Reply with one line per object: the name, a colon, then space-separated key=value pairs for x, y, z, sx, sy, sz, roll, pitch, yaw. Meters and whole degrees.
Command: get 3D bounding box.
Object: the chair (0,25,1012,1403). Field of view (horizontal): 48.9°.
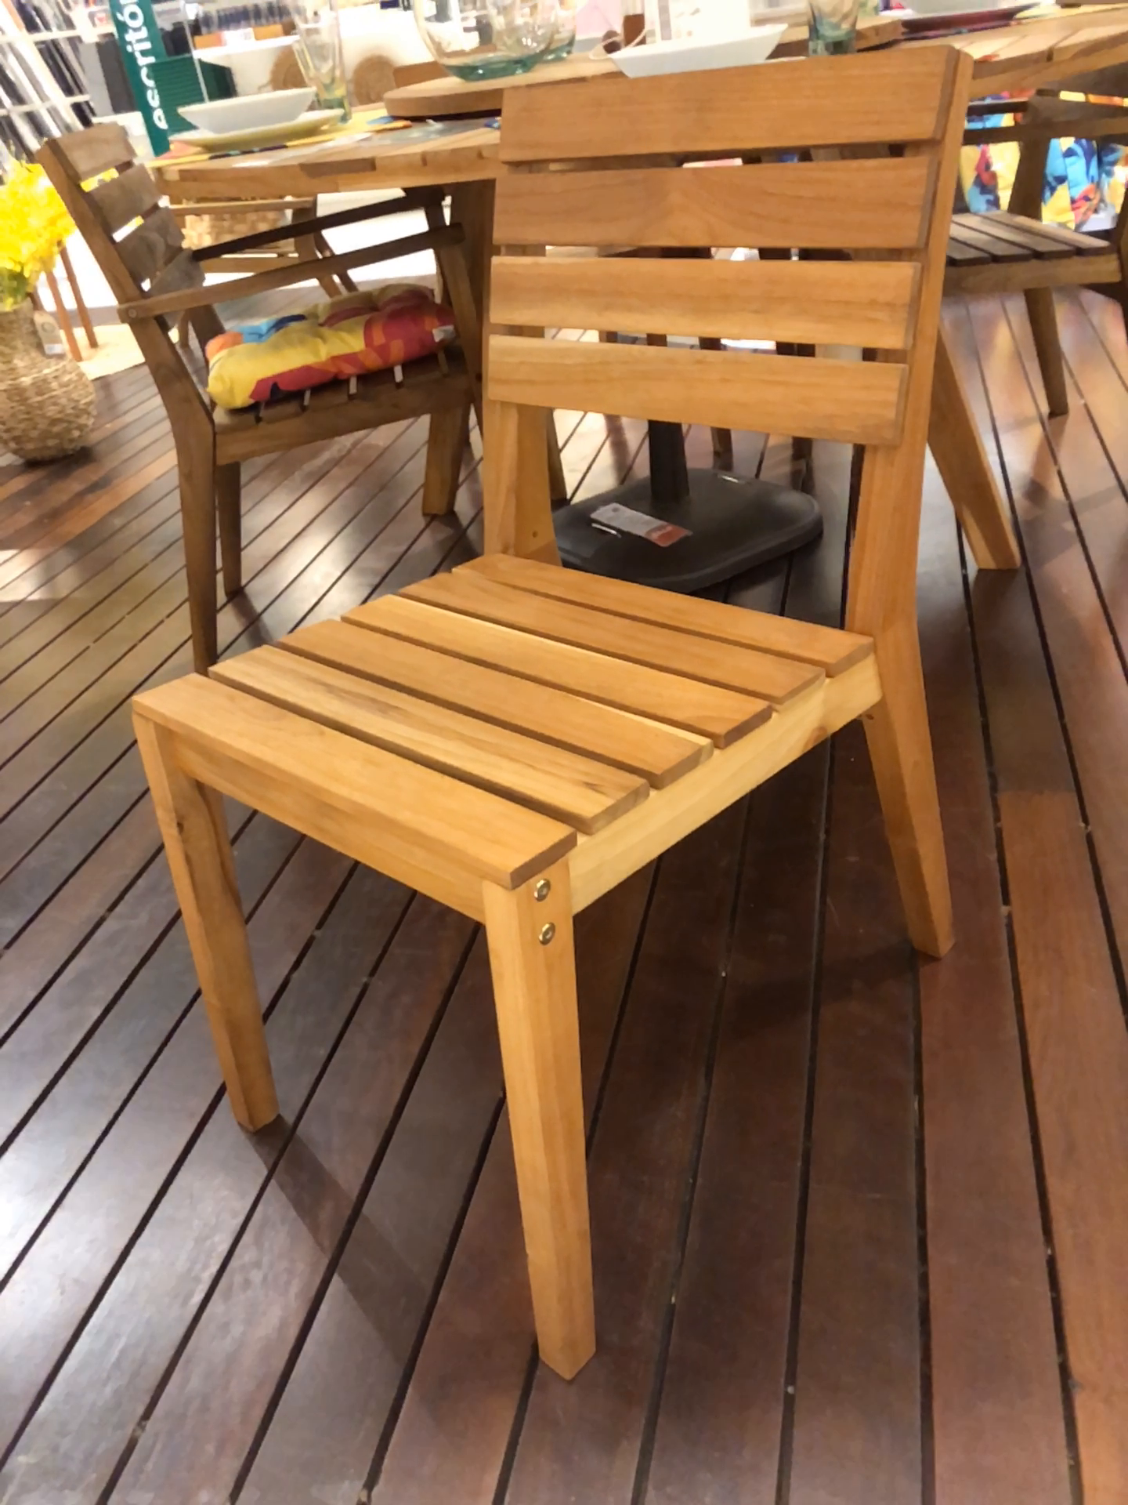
chair: x=-0.018 y=-0.079 z=0.983 sx=0.462 sy=0.764 sz=0.603 roll=19 pitch=40 yaw=39
